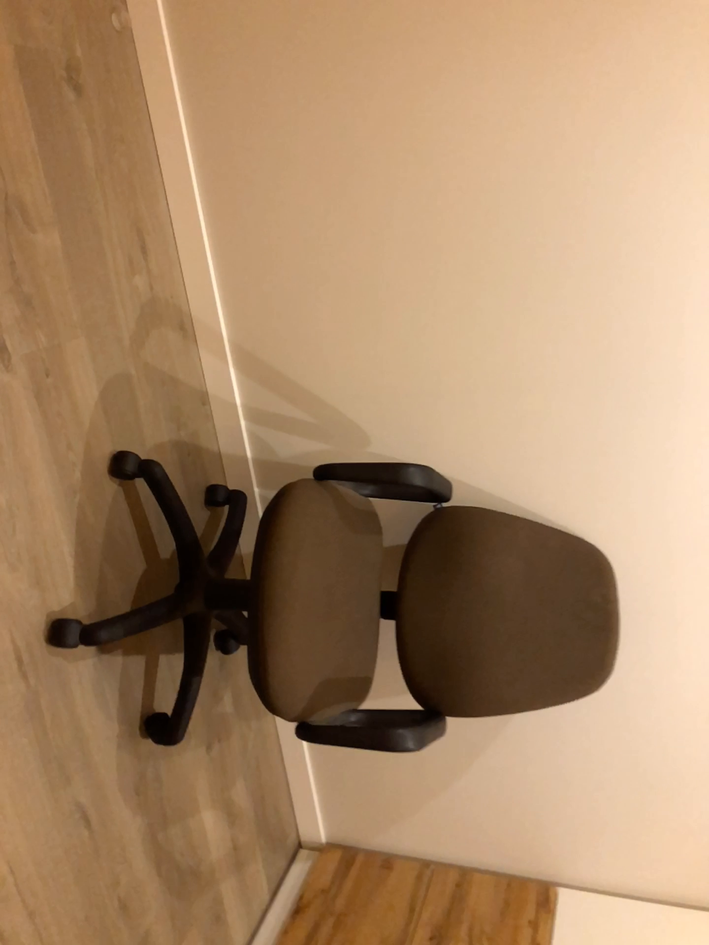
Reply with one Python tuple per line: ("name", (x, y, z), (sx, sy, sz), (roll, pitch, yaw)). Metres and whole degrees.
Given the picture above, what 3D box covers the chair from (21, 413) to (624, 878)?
("chair", (0.016, 0.289, 1.567), (0.713, 0.975, 0.630), (26, 65, -67))
